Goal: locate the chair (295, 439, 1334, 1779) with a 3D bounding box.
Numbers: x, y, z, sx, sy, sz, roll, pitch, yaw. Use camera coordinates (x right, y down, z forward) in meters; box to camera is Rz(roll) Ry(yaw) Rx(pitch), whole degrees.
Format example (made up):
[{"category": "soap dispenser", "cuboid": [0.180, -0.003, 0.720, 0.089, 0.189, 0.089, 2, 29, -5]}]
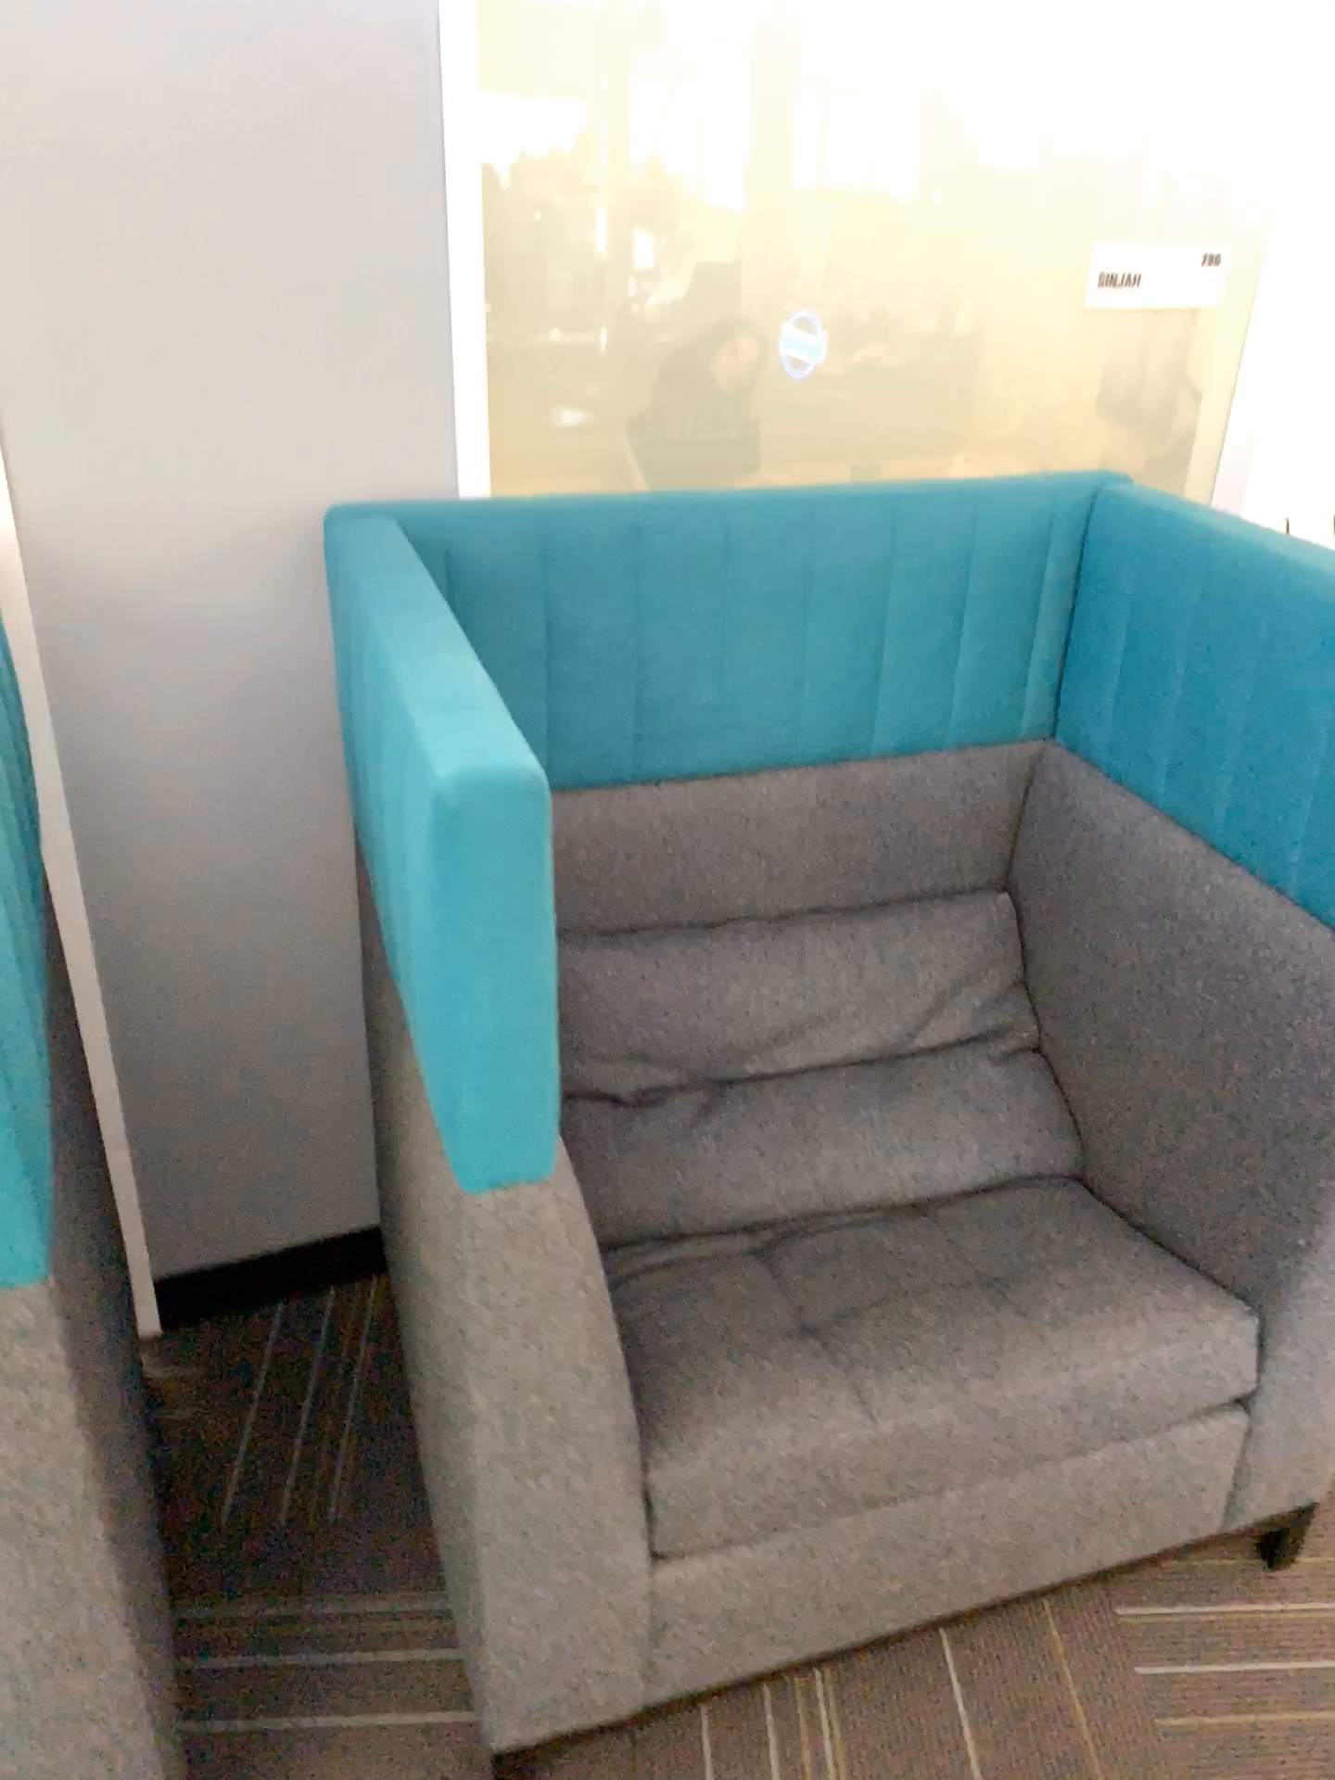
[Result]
[{"category": "chair", "cuboid": [0.193, 0.192, 1.632, 1.050, 1.213, 1.016, -7, 29, -17]}]
